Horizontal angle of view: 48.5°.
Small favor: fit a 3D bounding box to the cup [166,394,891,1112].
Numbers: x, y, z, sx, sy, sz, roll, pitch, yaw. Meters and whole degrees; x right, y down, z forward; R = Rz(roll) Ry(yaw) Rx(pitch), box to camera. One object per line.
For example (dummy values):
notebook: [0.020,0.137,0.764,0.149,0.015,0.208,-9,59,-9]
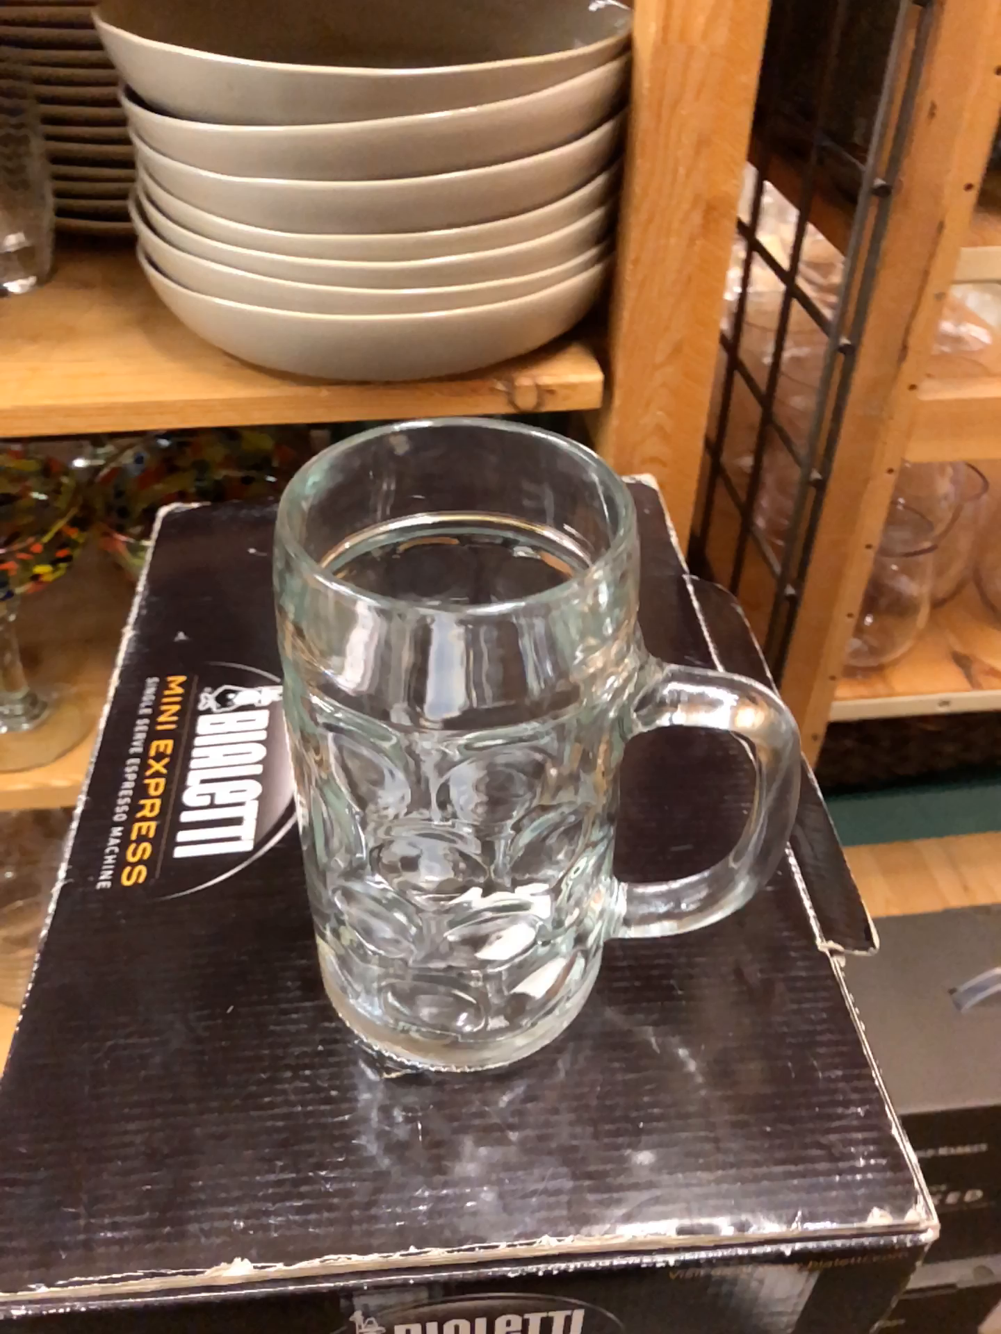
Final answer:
cup: [0.008,0.021,0.279,0.129,0.136,0.100,5,40,5]
